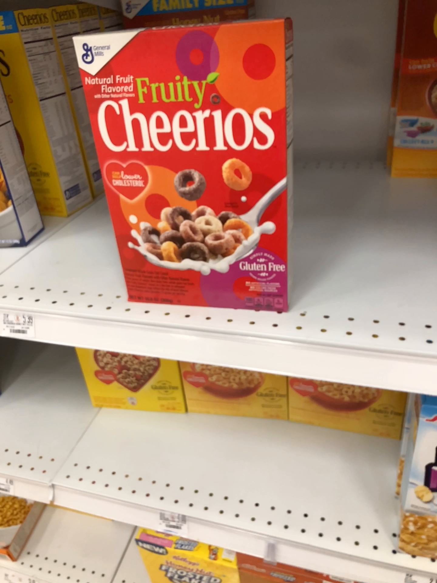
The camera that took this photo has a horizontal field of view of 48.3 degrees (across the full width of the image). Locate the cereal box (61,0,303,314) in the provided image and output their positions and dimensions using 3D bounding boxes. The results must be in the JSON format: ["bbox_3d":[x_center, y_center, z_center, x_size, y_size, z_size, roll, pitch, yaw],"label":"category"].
[{"bbox_3d":[-0.020,-0.120,0.502,0.200,0.289,0.060,3,33,16],"label":"cereal box"}]
